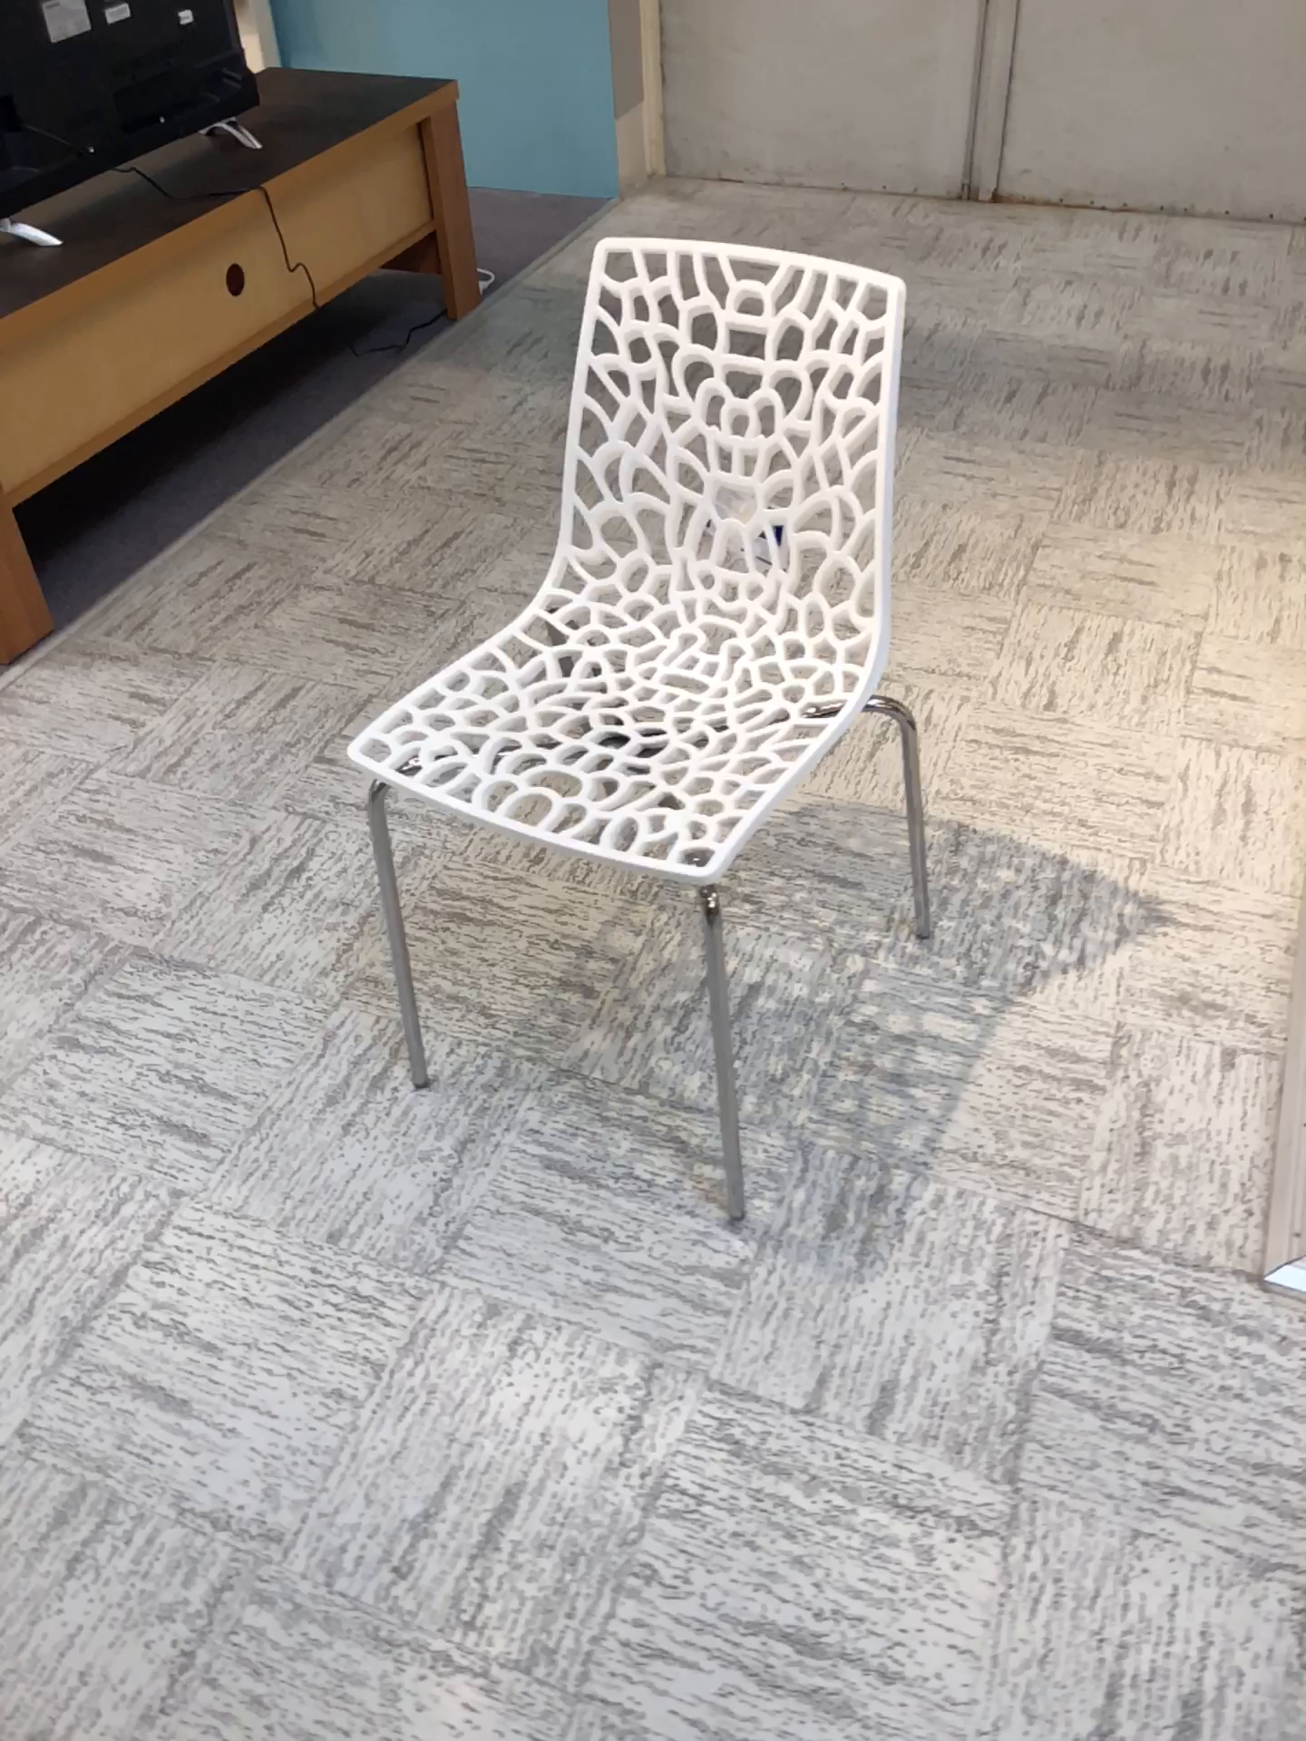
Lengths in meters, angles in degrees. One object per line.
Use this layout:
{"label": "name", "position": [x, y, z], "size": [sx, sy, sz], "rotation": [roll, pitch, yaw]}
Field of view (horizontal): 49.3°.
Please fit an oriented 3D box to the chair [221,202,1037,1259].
{"label": "chair", "position": [0.018, -0.134, 1.388], "size": [0.450, 0.785, 0.513], "rotation": [19, 46, 24]}
